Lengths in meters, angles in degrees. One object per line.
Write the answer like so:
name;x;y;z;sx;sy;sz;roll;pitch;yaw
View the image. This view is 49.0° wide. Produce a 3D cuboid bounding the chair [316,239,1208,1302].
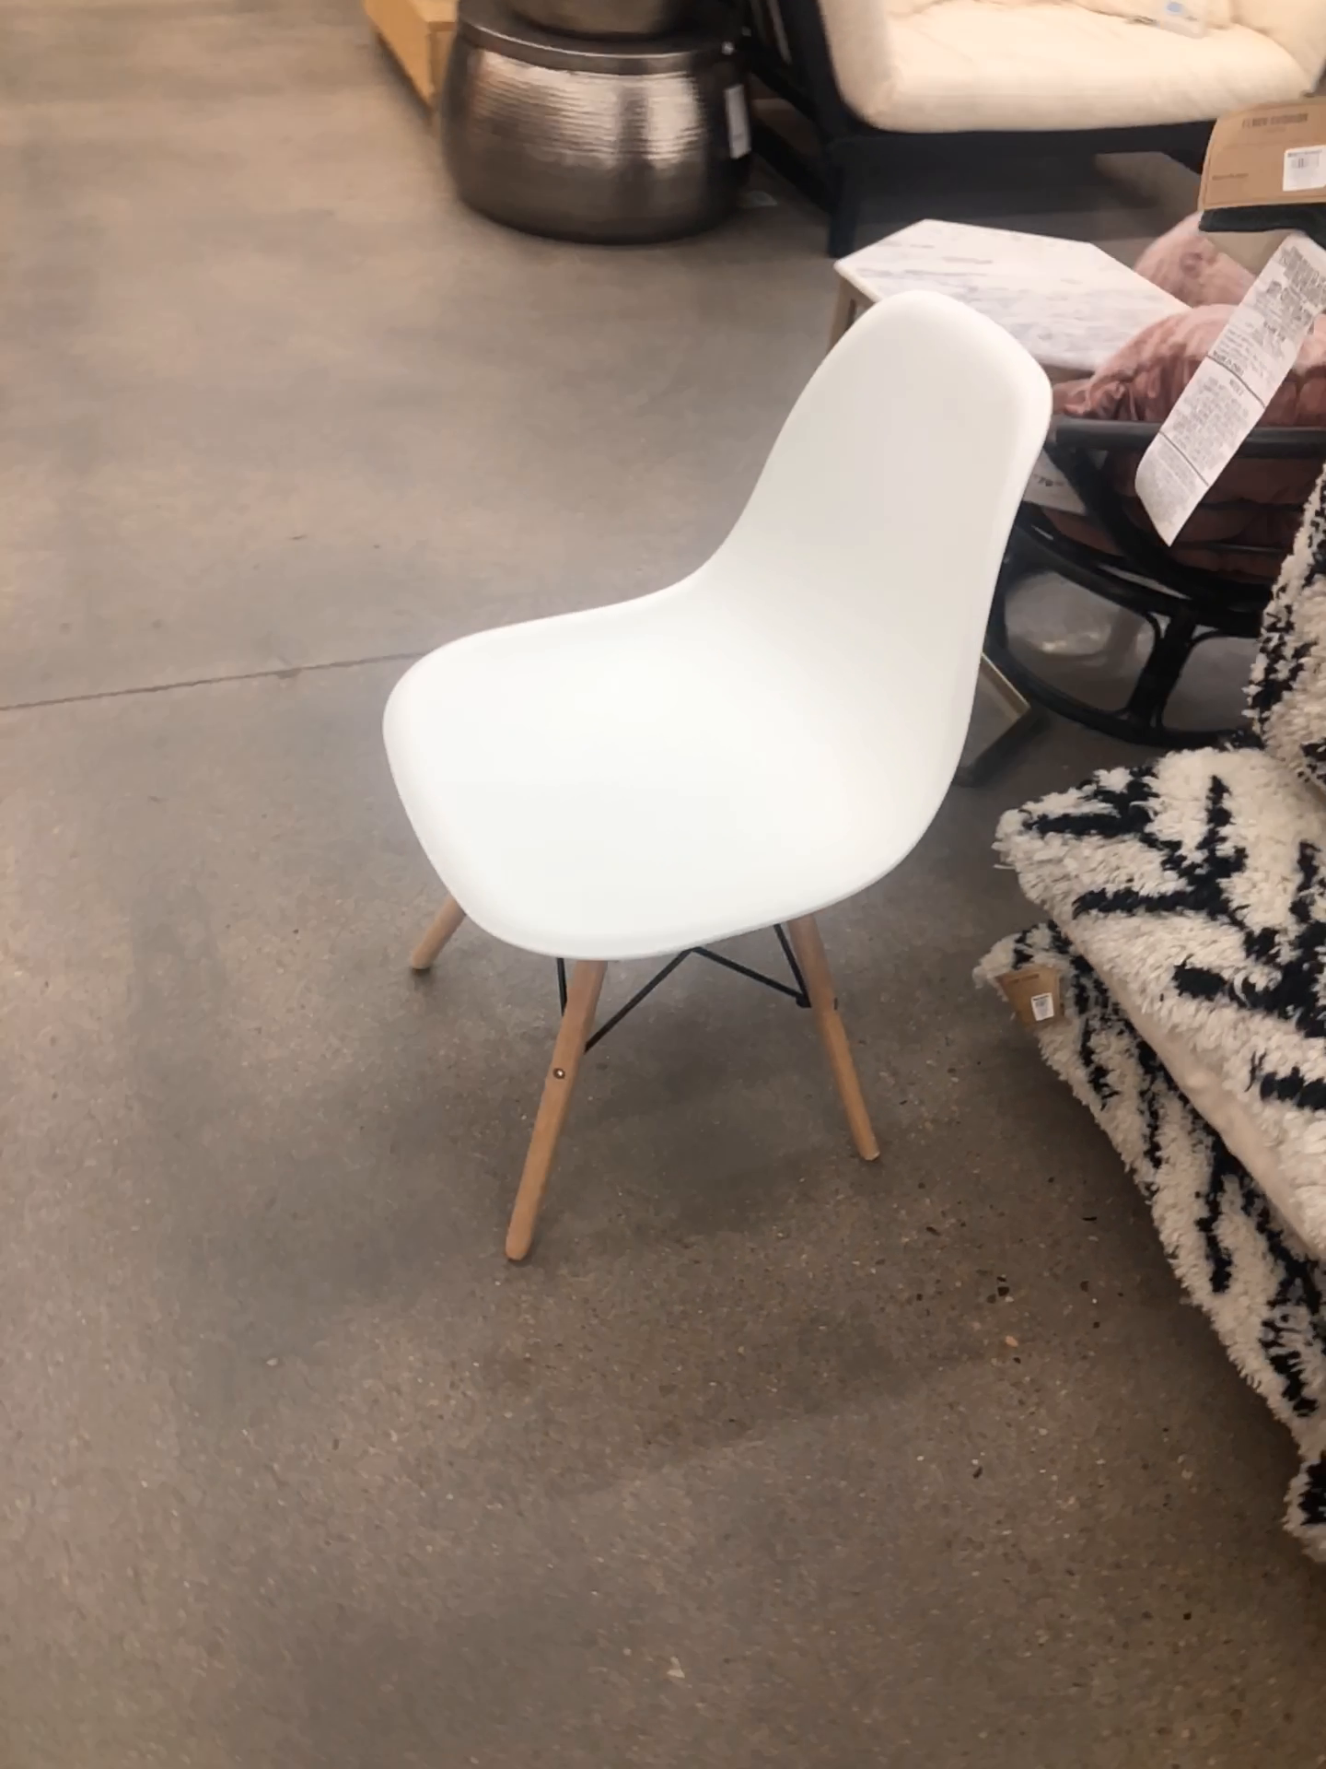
chair;0.019;-0.087;1.342;0.531;0.806;0.442;-10;46;-17
